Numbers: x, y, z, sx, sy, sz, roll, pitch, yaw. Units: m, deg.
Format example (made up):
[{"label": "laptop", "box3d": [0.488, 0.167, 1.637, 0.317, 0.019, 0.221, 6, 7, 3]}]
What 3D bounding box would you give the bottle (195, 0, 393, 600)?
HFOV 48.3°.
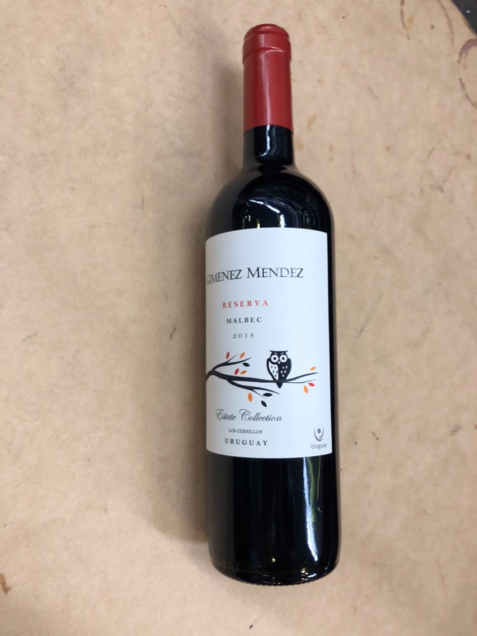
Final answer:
[{"label": "bottle", "box3d": [0.027, -0.029, 0.288, 0.080, 0.060, 0.310, 1, 86, -31]}]
